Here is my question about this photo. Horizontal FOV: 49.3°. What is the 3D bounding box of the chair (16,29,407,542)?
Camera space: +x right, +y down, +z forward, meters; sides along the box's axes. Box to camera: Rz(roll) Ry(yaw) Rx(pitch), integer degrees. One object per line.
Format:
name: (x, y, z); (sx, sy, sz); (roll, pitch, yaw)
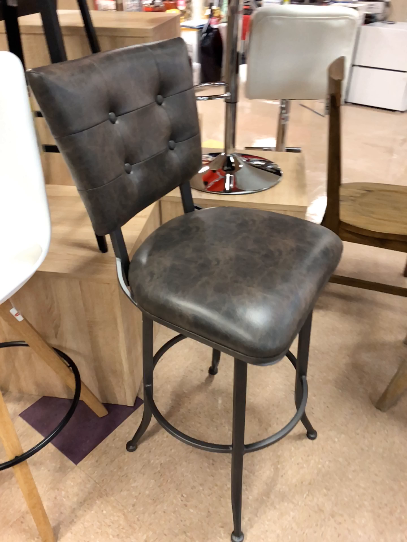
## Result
chair: (0.060, 0.078, 1.096); (0.512, 1.107, 0.520); (19, 40, 26)
